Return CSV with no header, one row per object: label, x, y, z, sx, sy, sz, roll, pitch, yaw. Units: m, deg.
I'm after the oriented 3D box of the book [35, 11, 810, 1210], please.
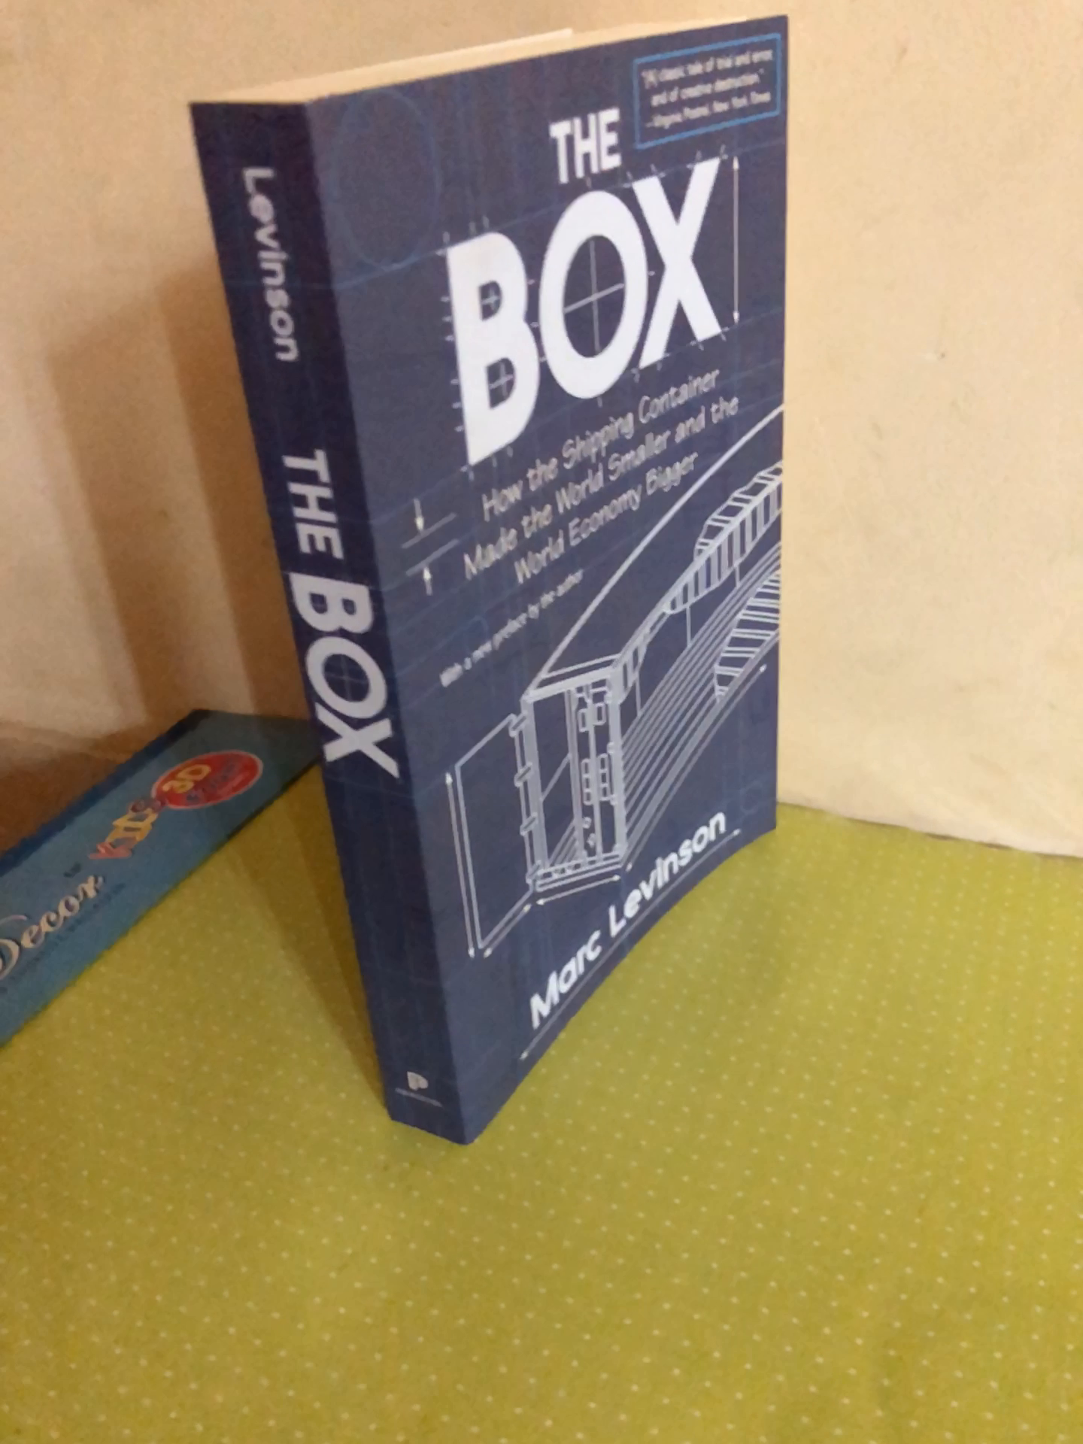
book,0.002,-0.035,0.284,0.050,0.219,0.181,14,35,29
